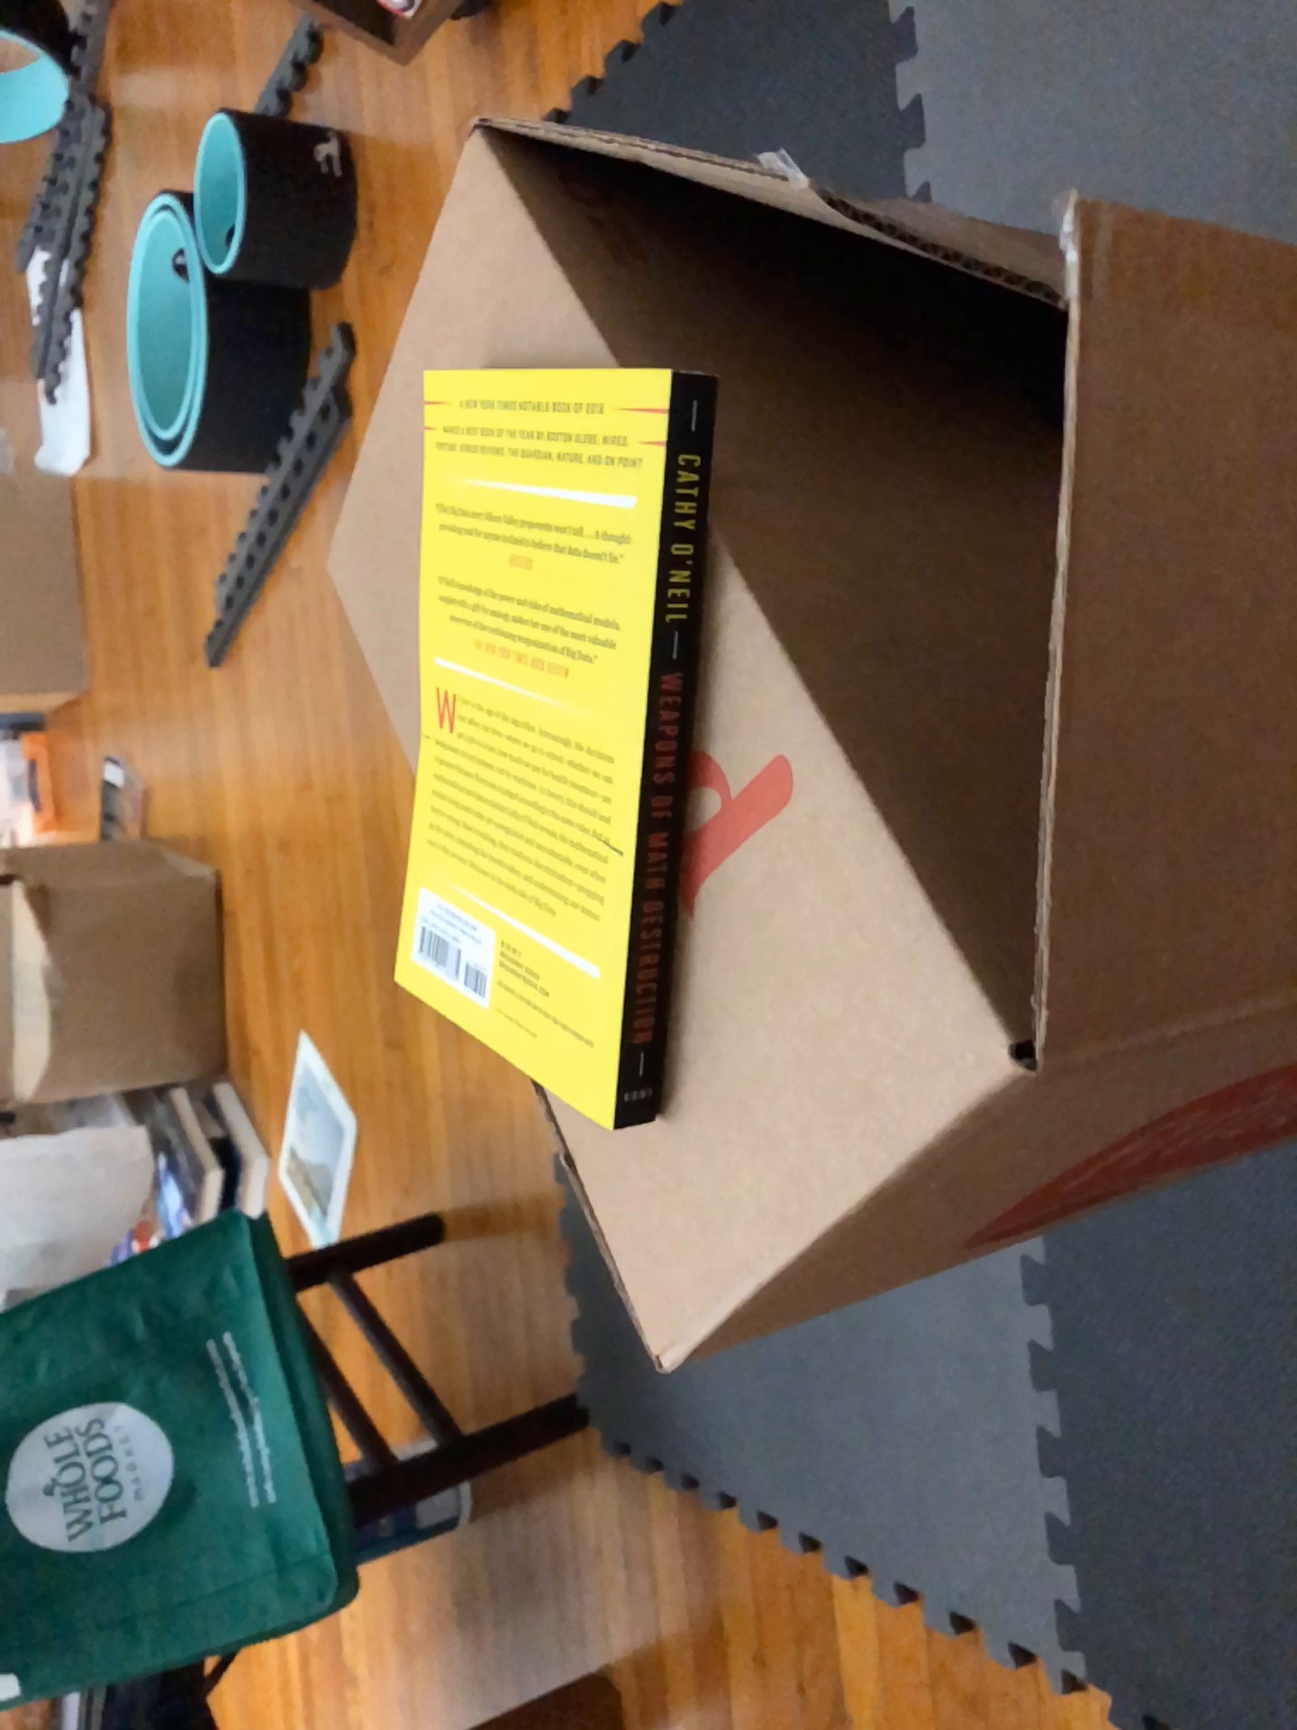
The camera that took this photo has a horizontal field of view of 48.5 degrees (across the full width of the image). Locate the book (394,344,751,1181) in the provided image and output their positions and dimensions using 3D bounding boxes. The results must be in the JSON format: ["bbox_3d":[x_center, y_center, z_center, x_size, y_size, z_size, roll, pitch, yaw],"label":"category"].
[{"bbox_3d":[-0.033,-0.039,0.436,0.151,0.020,0.220,26,116,52],"label":"book"}]
